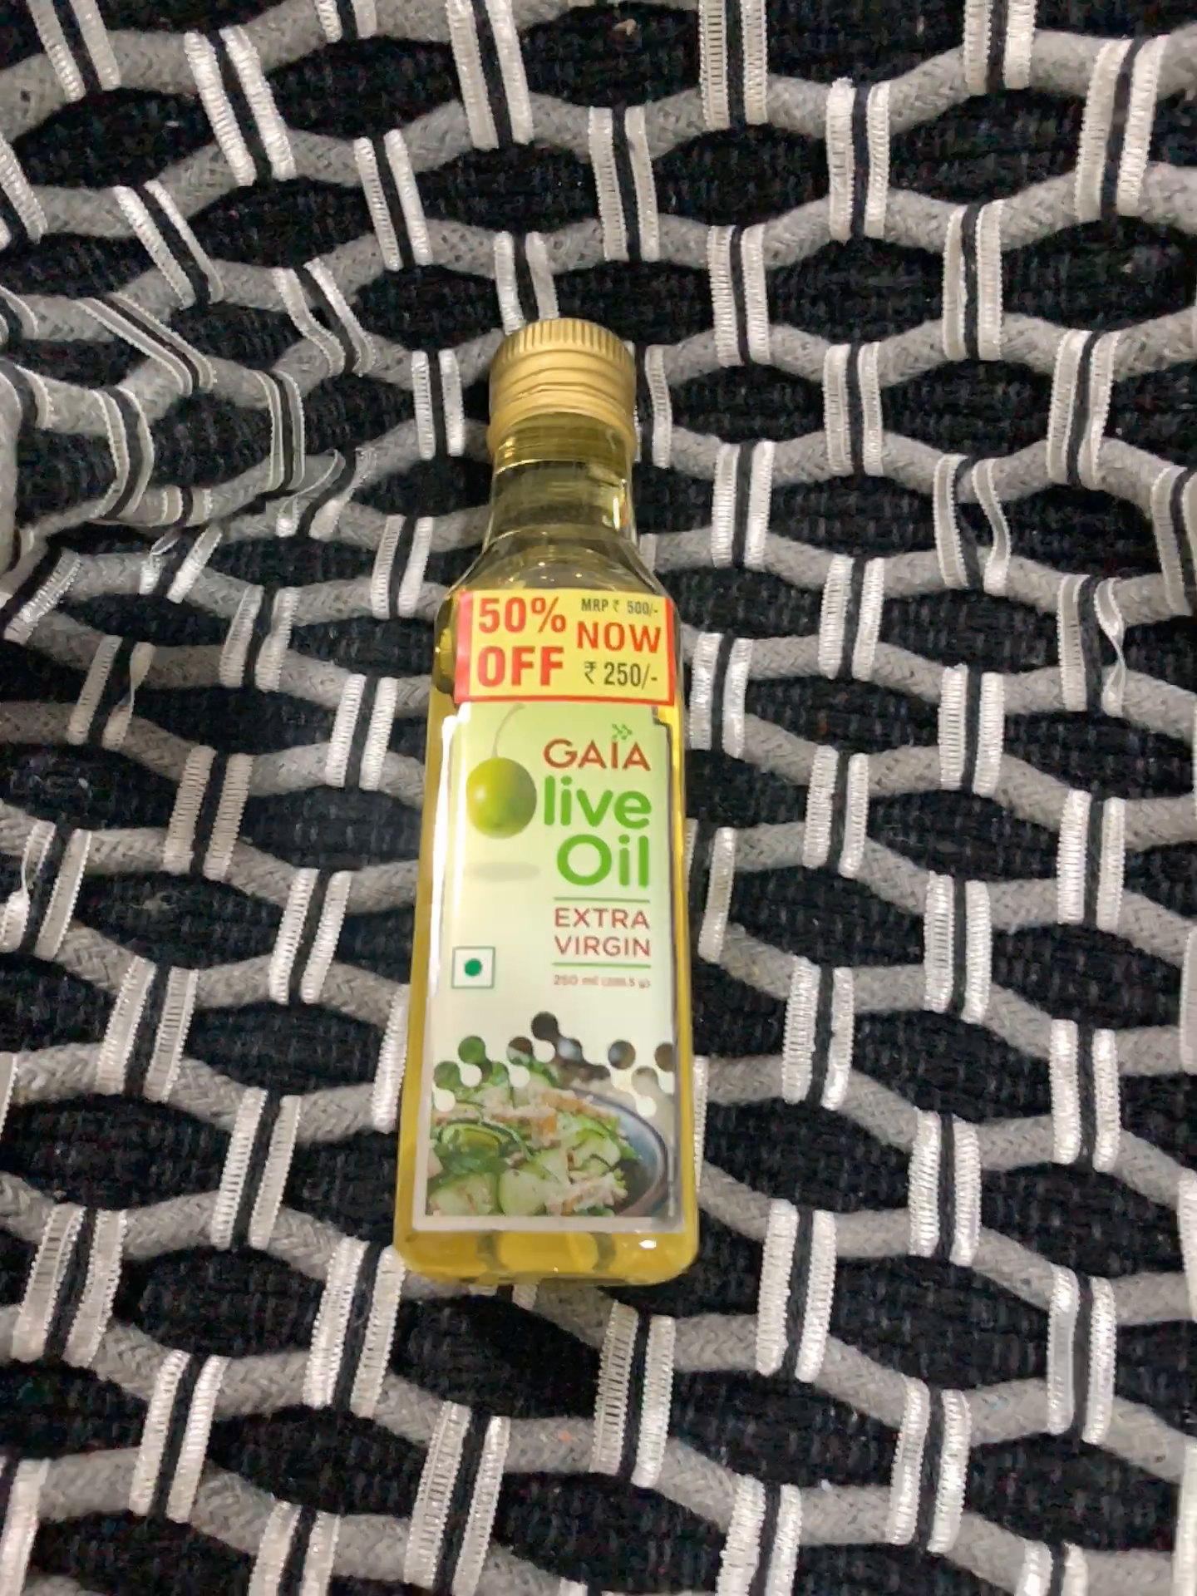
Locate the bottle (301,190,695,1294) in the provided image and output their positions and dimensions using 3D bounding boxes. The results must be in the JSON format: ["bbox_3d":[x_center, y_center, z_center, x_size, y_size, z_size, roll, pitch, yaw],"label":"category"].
[{"bbox_3d":[-0.011,-0.016,0.217,0.050,0.050,0.190,2,67,-1],"label":"bottle"}]
